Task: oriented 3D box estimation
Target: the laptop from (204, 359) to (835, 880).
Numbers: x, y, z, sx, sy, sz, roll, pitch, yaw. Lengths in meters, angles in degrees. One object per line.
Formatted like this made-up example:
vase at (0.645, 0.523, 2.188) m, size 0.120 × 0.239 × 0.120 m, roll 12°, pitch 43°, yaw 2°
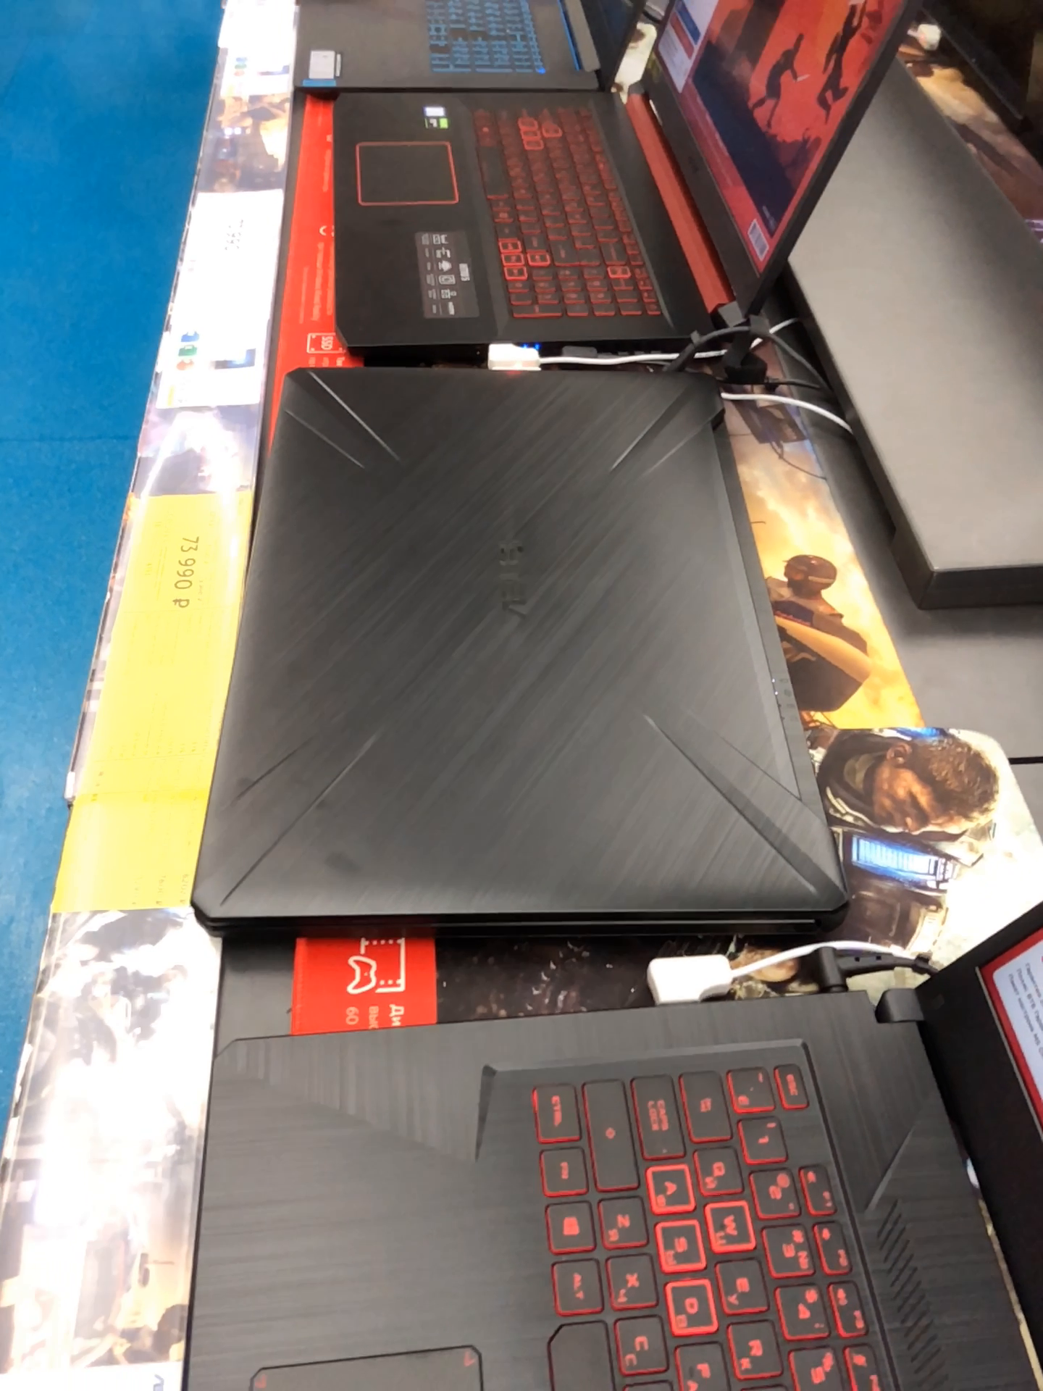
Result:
laptop at (-0.002, -0.068, 0.600) m, size 0.261 × 0.001 × 0.387 m, roll 1°, pitch 48°, yaw -3°
